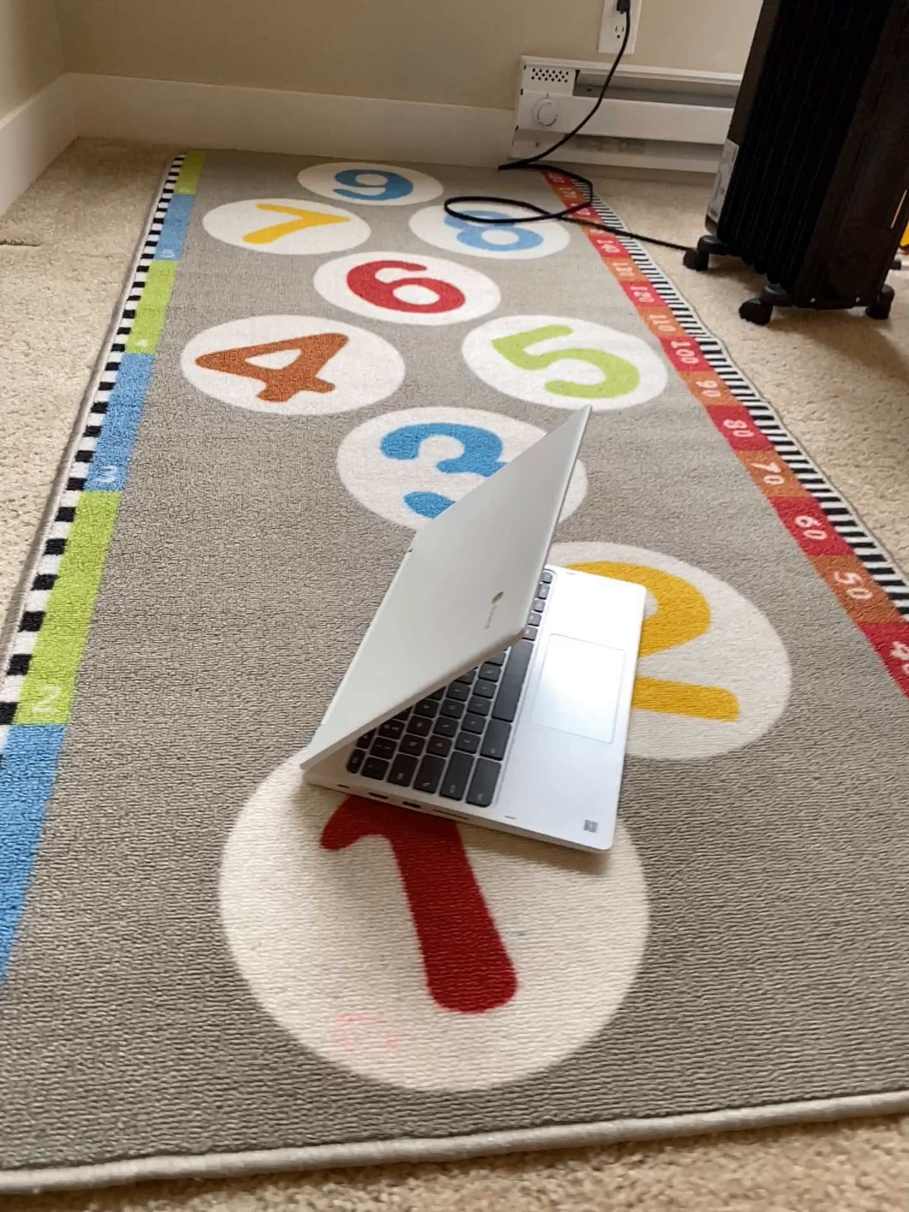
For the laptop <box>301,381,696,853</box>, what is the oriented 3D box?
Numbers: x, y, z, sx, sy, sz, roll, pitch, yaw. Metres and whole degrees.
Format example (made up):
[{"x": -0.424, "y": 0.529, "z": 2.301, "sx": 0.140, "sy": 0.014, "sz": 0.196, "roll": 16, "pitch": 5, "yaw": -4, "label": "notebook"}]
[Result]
[{"x": 0.045, "y": -0.013, "z": 0.687, "sx": 0.216, "sy": 0.162, "sz": 0.300, "roll": 13, "pitch": 39, "yaw": 8, "label": "laptop"}]
